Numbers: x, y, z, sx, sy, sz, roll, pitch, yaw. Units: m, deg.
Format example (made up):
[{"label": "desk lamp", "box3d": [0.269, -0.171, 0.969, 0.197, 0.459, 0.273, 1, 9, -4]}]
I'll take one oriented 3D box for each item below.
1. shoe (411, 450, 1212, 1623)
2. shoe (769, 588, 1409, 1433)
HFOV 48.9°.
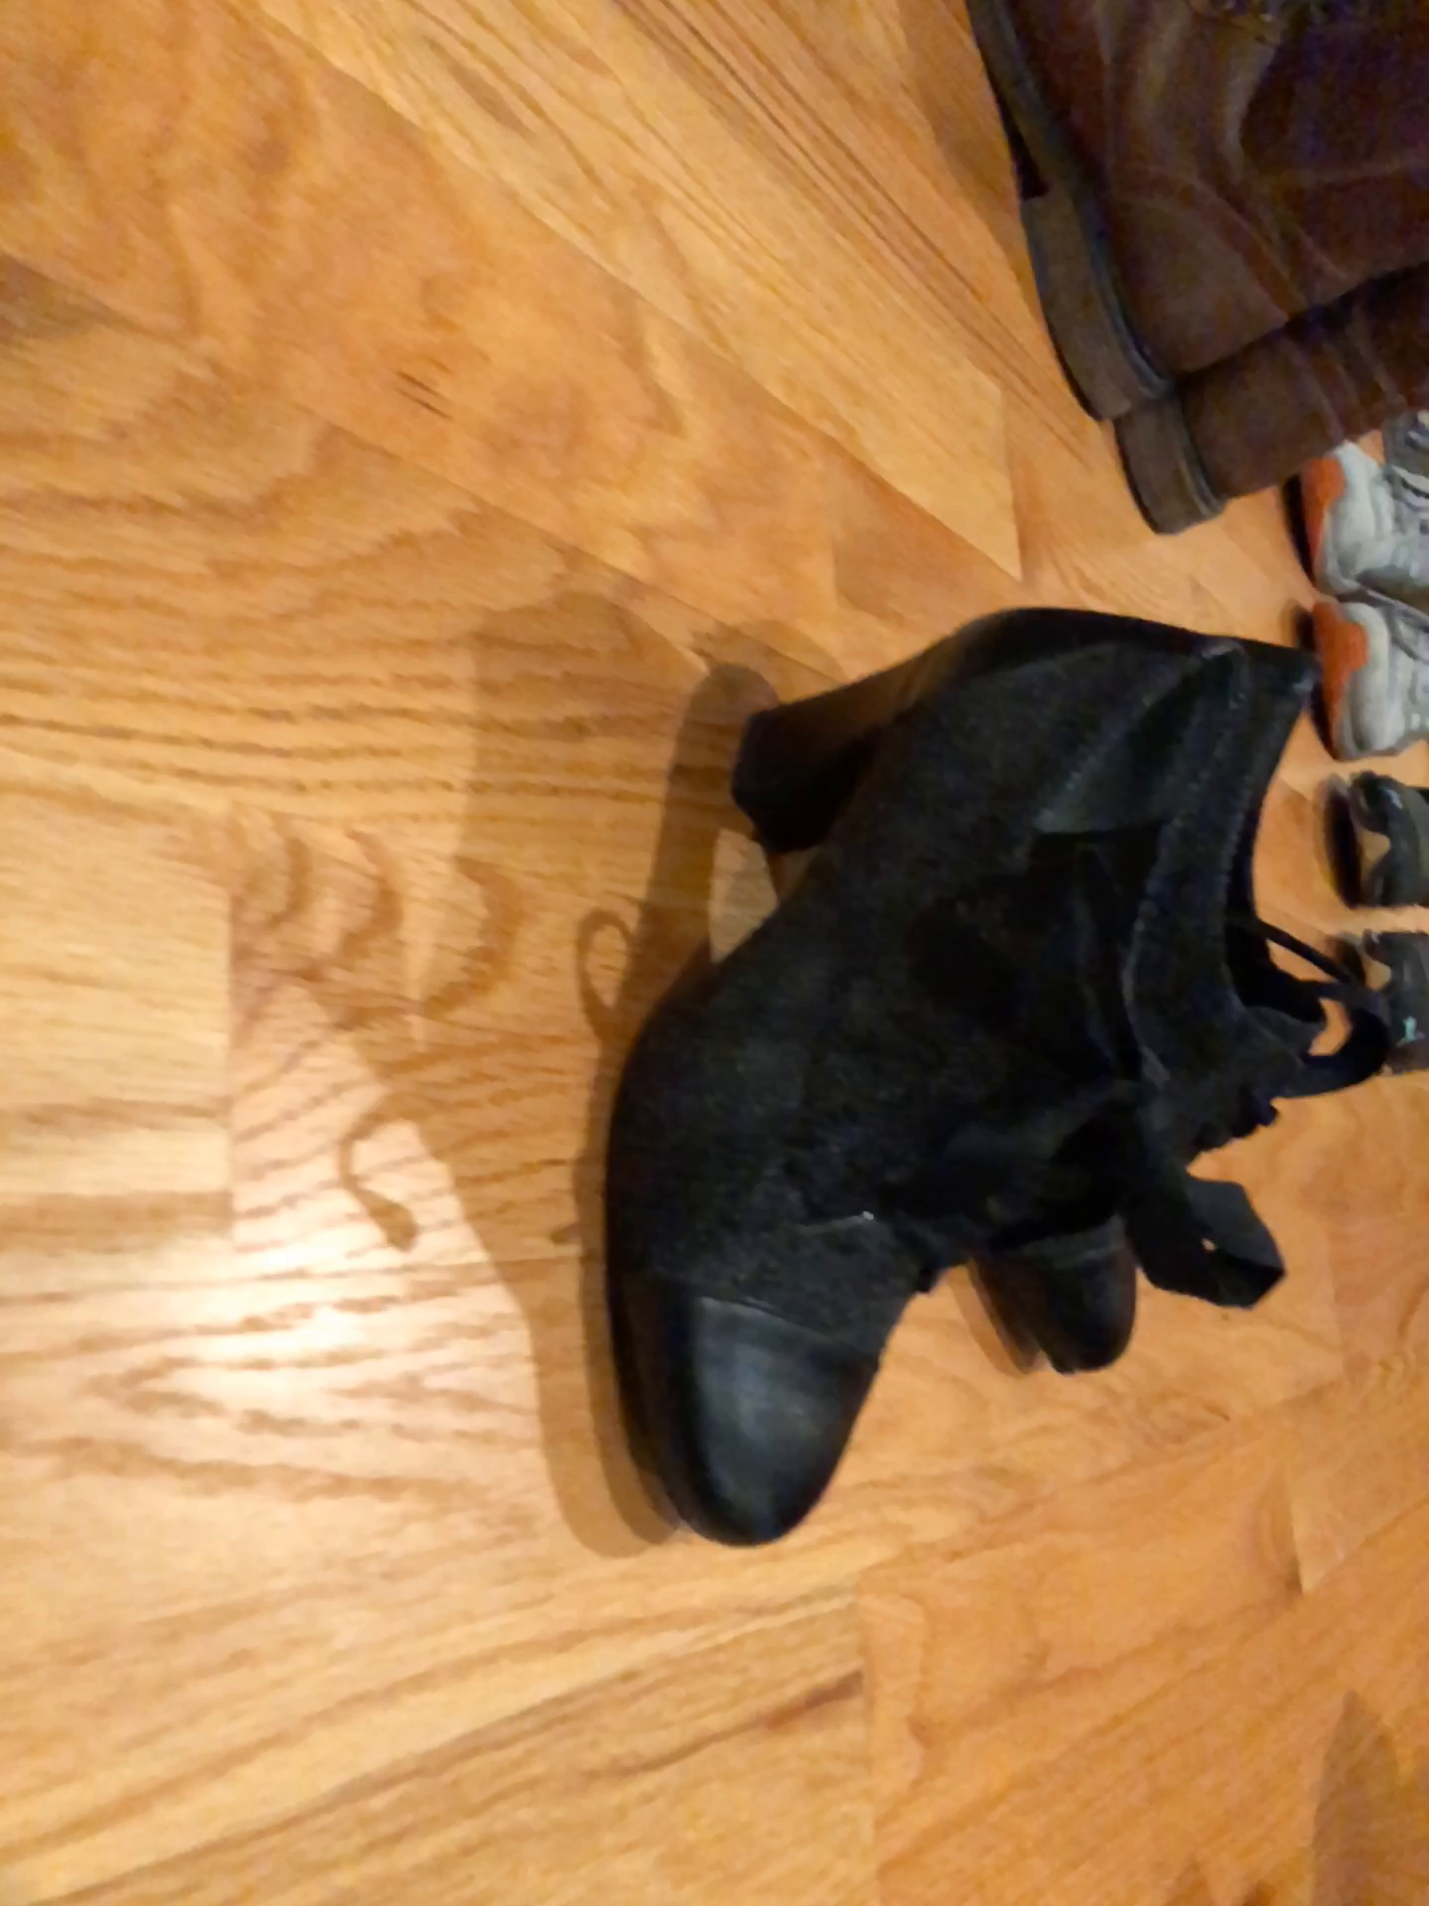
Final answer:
[{"label": "shoe", "box3d": [0.033, 0.020, 0.355, 0.093, 0.125, 0.223, 39, 50, -44]}, {"label": "shoe", "box3d": [0.115, 0.020, 0.476, 0.088, 0.125, 0.223, -14, 93, -57]}]
